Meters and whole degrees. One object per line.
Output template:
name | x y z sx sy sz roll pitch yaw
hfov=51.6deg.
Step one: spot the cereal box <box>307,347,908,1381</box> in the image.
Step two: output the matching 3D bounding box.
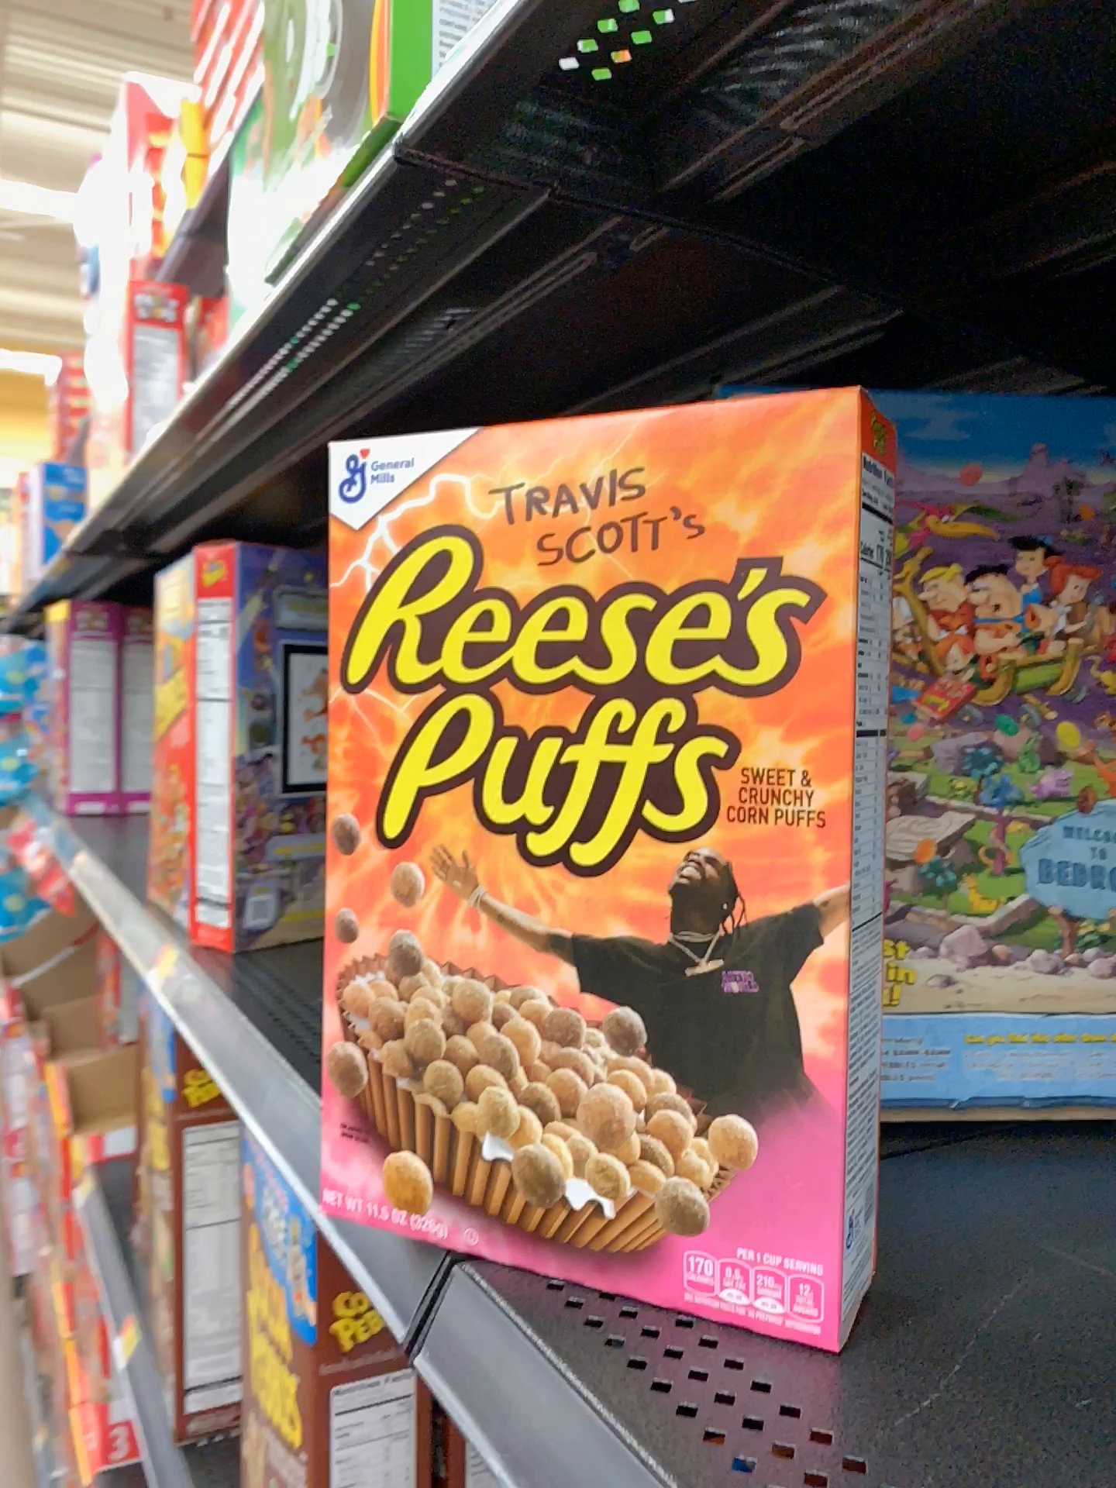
cereal box | 0.010 0.032 0.394 0.200 0.290 0.050 1 0 29
